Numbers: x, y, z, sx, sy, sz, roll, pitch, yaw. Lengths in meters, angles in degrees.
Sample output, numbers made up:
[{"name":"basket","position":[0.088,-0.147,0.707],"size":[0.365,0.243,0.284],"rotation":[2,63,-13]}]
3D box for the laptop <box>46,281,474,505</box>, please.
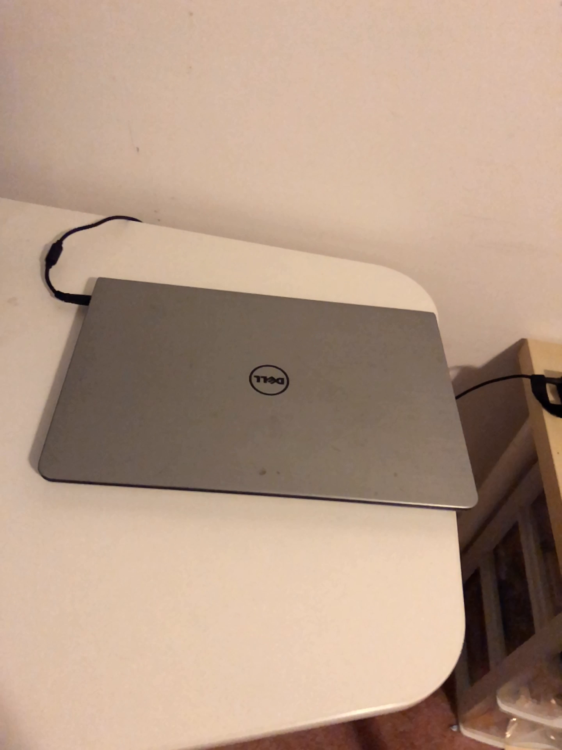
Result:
[{"name":"laptop","position":[-0.013,0.005,0.615],"size":[0.371,0.001,0.248],"rotation":[5,48,-4]}]
